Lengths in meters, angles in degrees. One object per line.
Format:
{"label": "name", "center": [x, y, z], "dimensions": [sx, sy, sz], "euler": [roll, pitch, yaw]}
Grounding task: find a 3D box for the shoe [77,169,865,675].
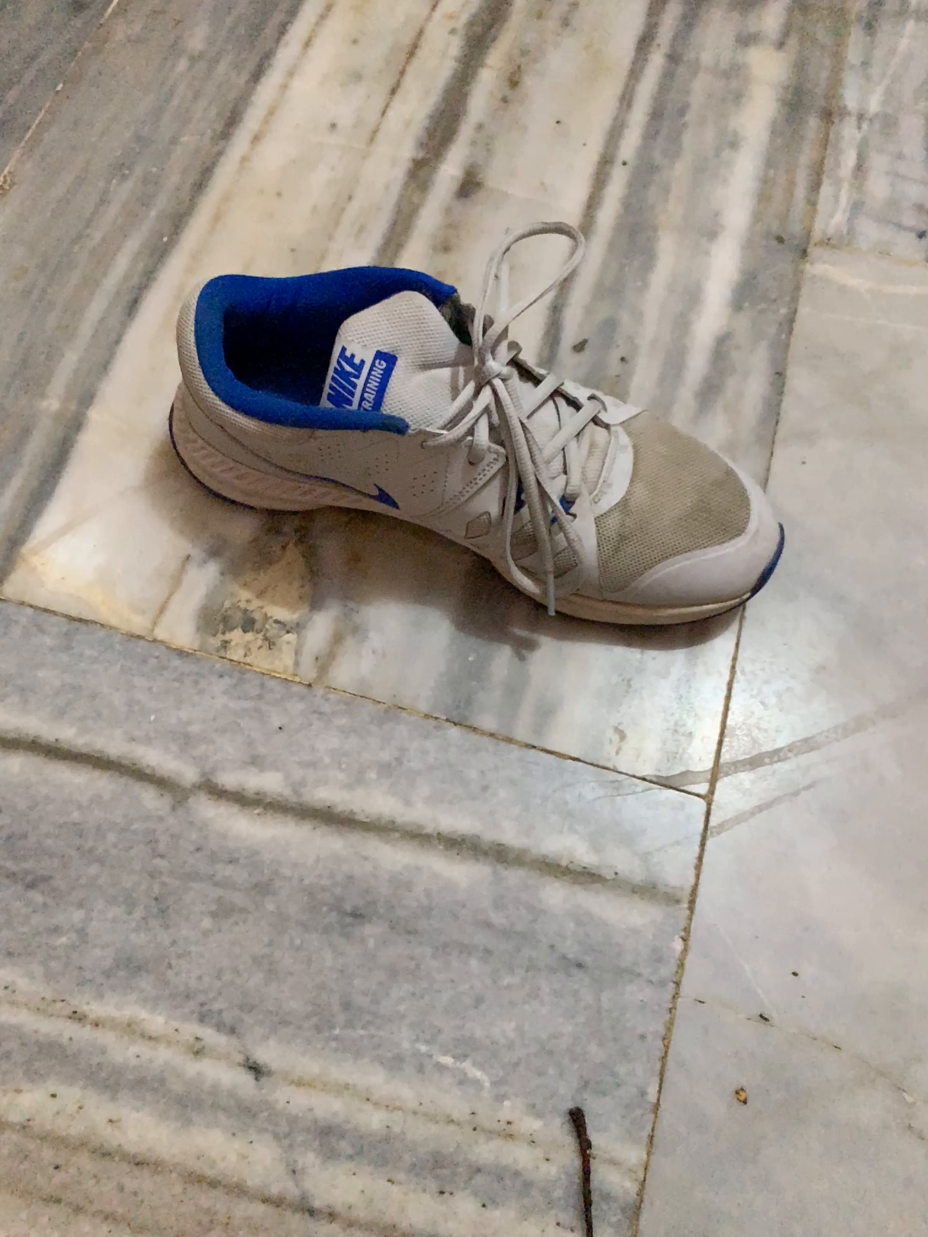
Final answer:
{"label": "shoe", "center": [0.004, -0.087, 0.434], "dimensions": [0.300, 0.100, 0.116], "euler": [17, 67, 6]}
